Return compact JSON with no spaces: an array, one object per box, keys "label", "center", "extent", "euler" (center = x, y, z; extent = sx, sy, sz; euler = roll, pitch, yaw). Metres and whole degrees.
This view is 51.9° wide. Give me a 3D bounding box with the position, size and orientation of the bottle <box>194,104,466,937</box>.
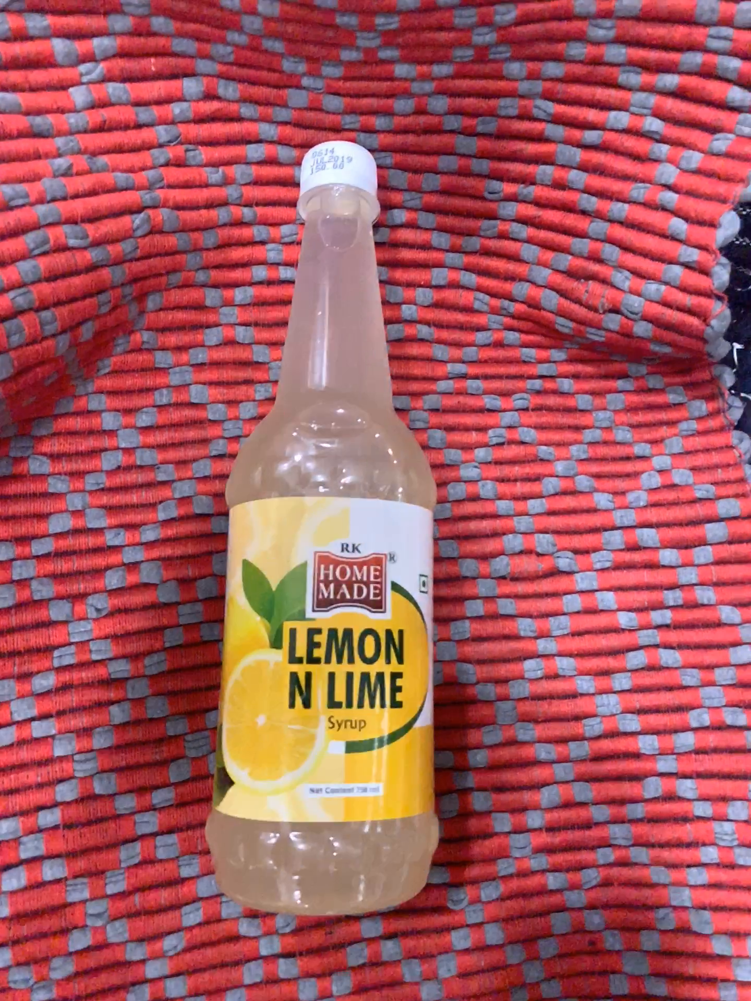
[{"label":"bottle","center":[-0.013,-0.003,0.269],"extent":[0.070,0.070,0.260],"euler":[1,74,-4]}]
